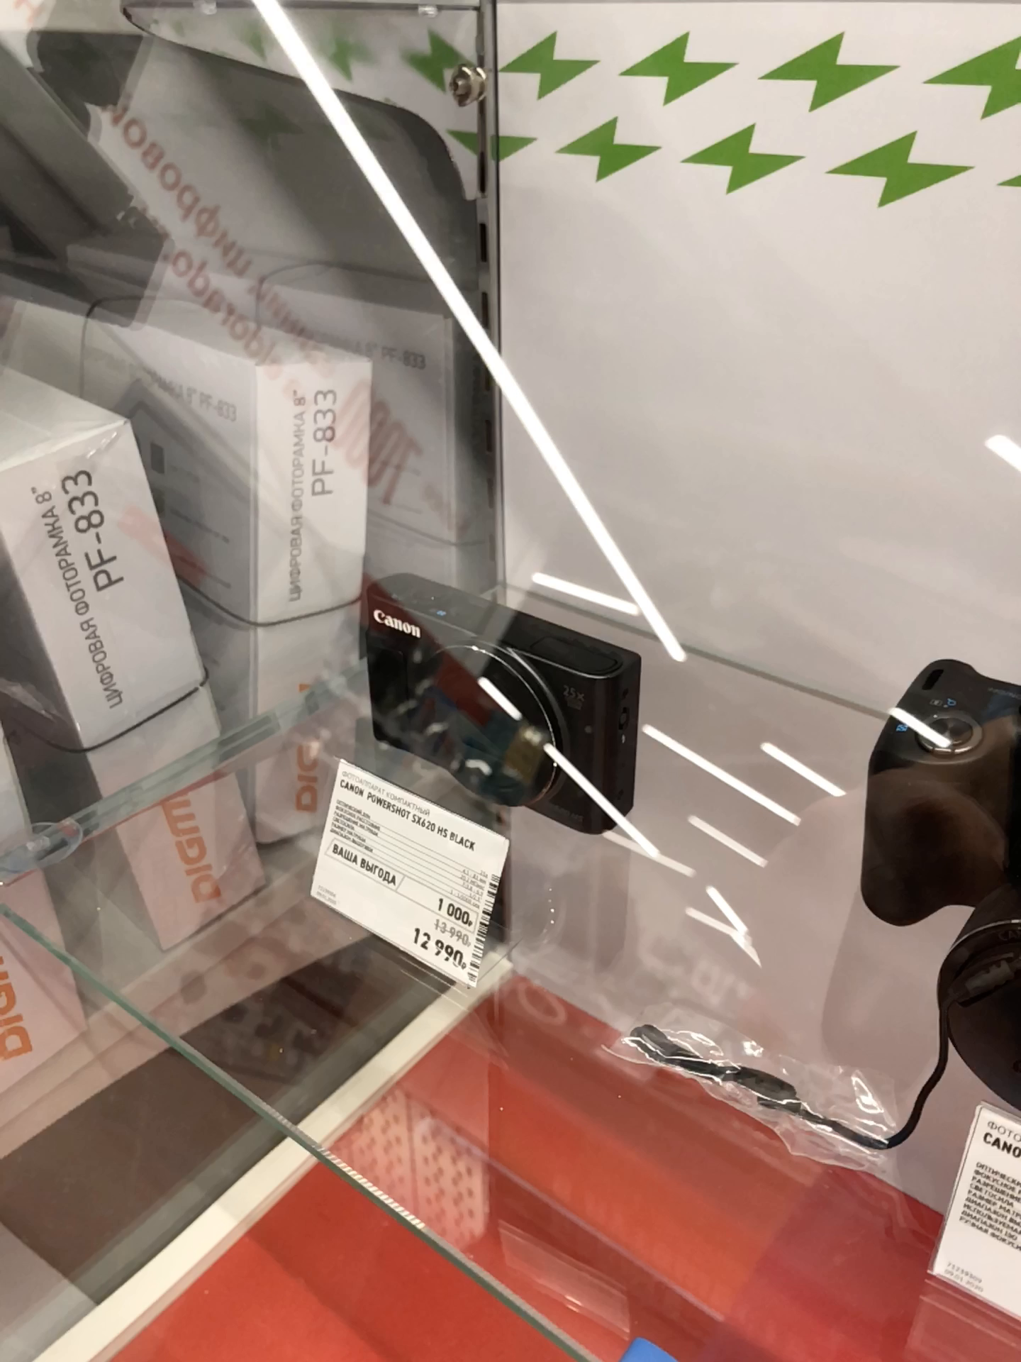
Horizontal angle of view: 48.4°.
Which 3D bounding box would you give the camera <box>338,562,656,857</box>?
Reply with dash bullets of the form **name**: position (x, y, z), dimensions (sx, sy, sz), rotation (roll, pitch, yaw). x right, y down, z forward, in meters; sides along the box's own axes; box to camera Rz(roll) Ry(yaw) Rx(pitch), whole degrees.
- **camera**: position (-0.006, 0.006, 0.351), dimensions (0.098, 0.055, 0.030), rotation (22, 37, 33)
